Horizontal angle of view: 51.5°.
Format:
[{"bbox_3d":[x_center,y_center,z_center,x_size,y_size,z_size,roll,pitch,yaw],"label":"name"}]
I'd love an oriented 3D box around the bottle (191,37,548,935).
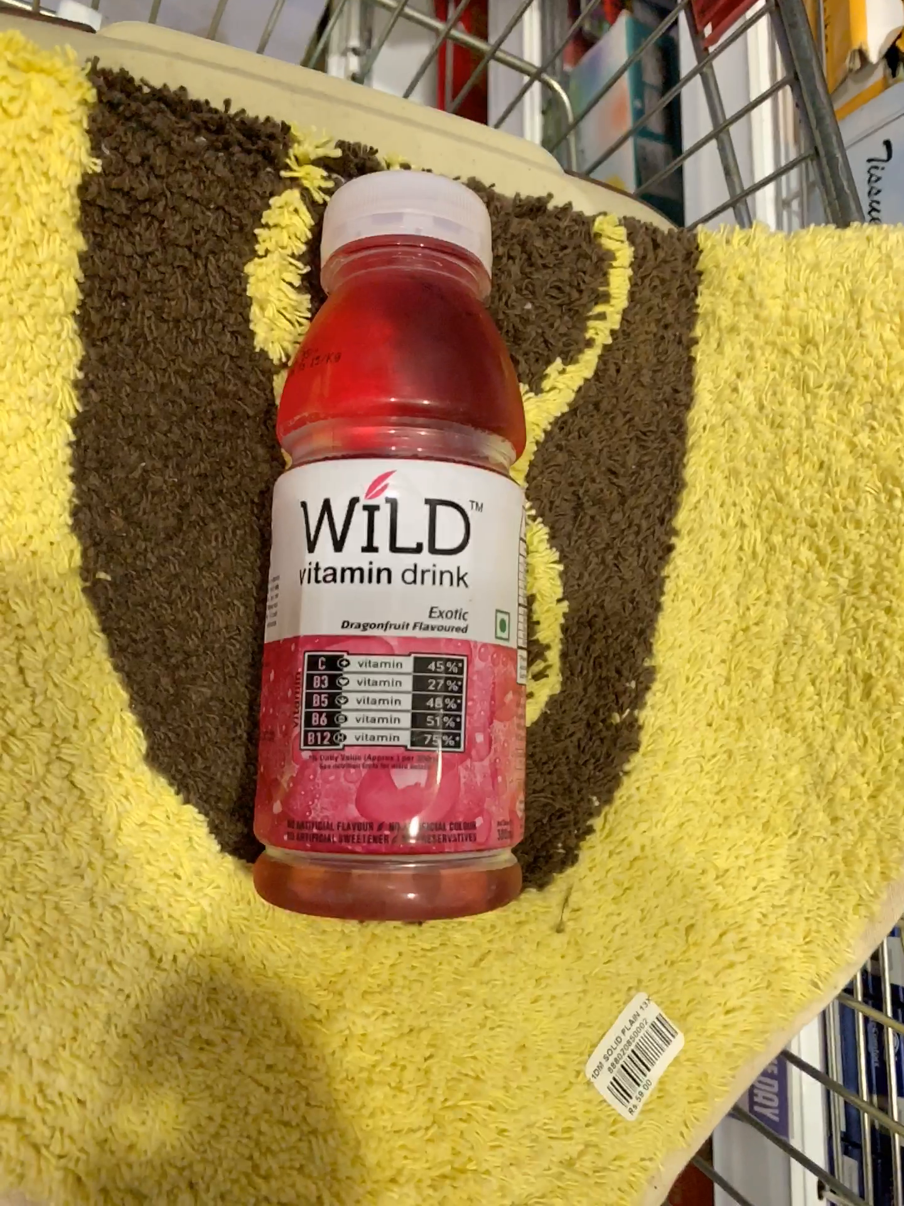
[{"bbox_3d":[-0.014,-0.023,0.198,0.060,0.050,0.170,1,80,-4],"label":"bottle"}]
